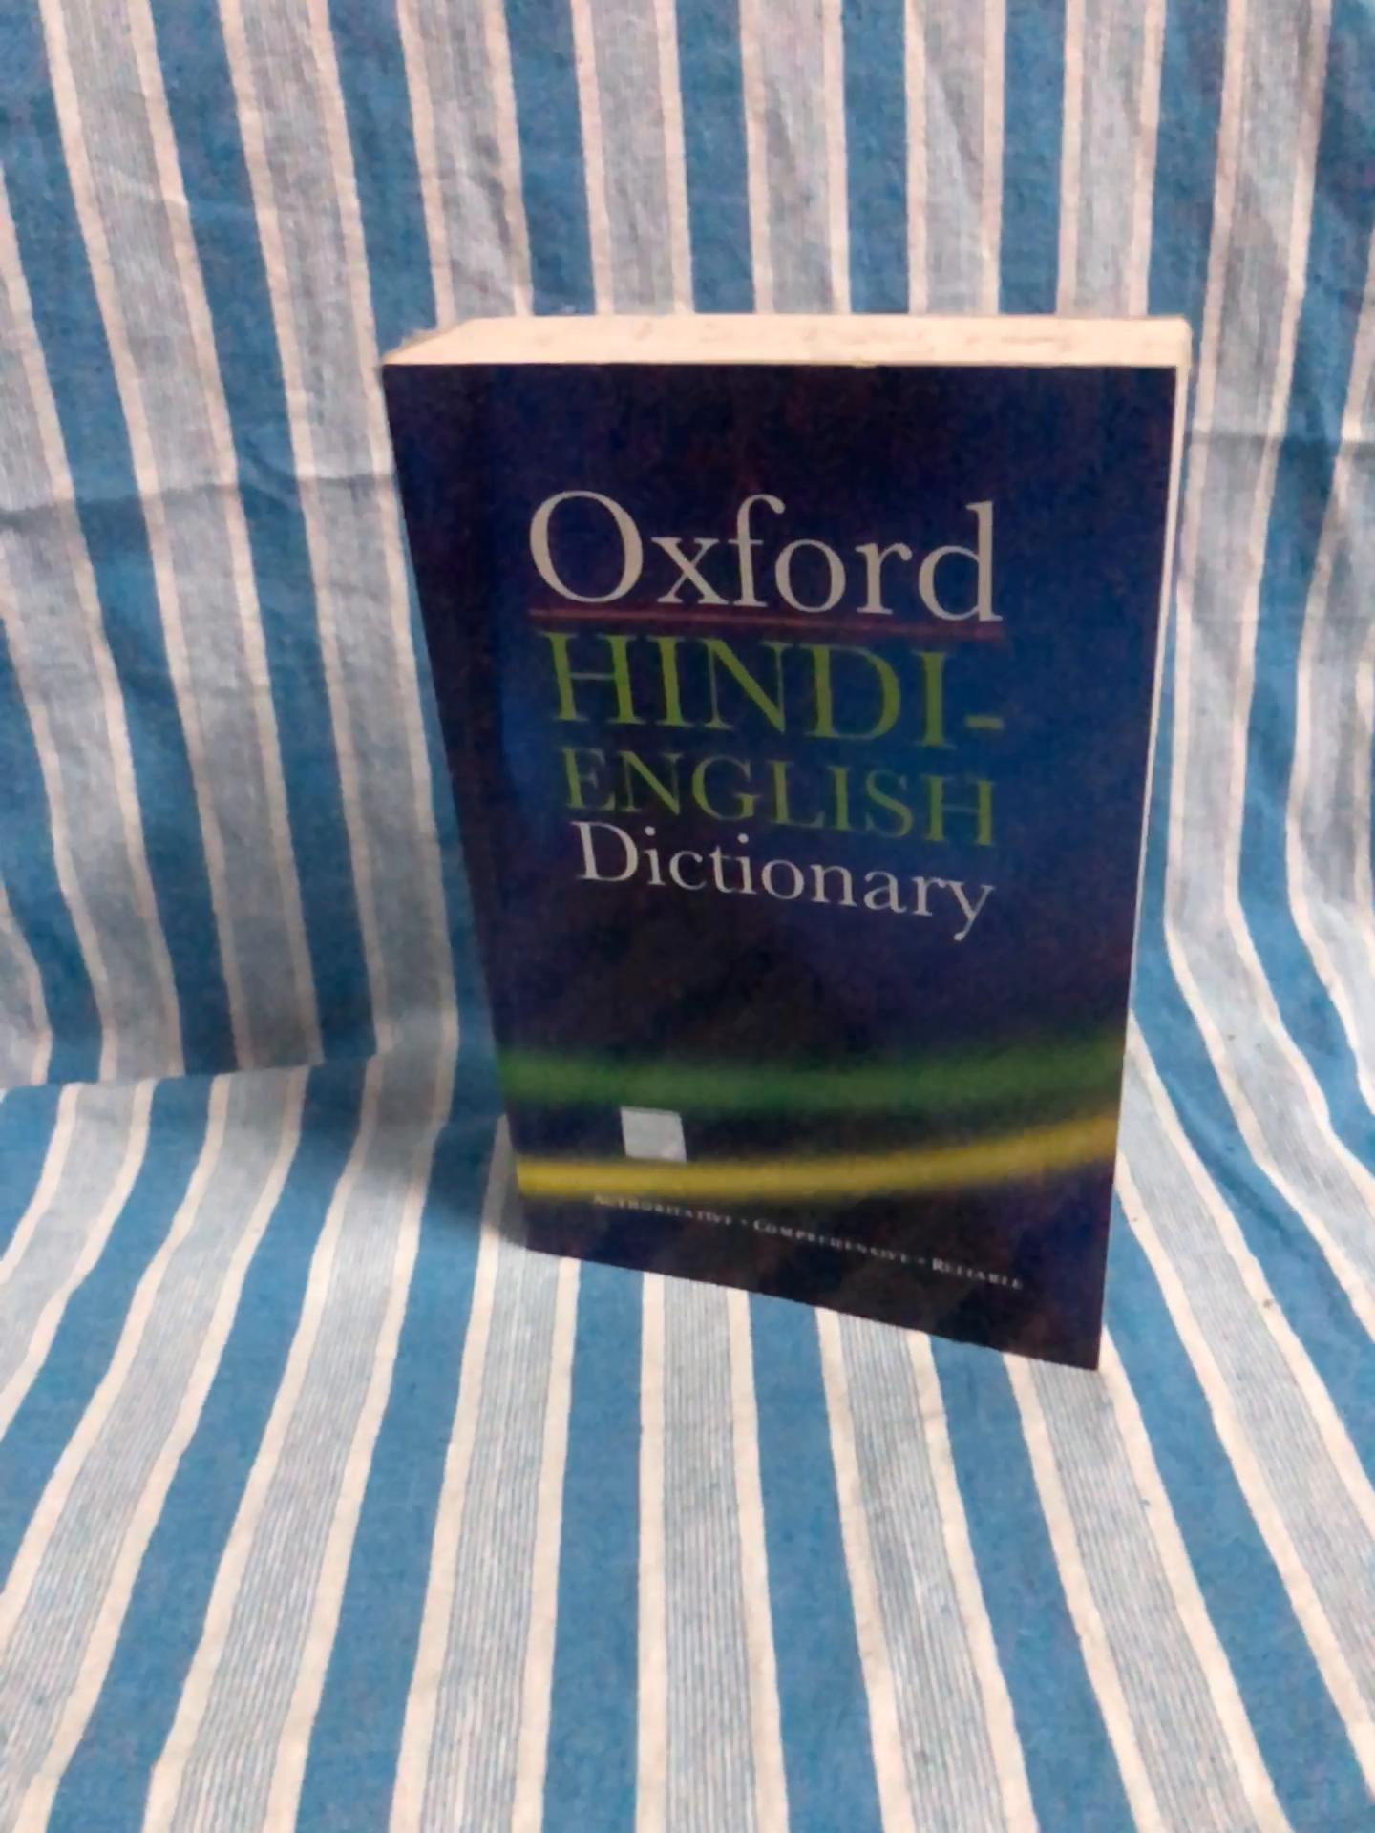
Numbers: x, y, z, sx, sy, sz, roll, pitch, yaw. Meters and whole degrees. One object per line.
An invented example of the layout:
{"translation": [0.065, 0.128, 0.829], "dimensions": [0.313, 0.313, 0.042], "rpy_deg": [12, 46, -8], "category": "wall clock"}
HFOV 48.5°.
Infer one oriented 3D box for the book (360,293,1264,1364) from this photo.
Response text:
{"translation": [0.026, -0.013, 0.304], "dimensions": [0.140, 0.199, 0.050], "rpy_deg": [8, 34, 17], "category": "book"}
